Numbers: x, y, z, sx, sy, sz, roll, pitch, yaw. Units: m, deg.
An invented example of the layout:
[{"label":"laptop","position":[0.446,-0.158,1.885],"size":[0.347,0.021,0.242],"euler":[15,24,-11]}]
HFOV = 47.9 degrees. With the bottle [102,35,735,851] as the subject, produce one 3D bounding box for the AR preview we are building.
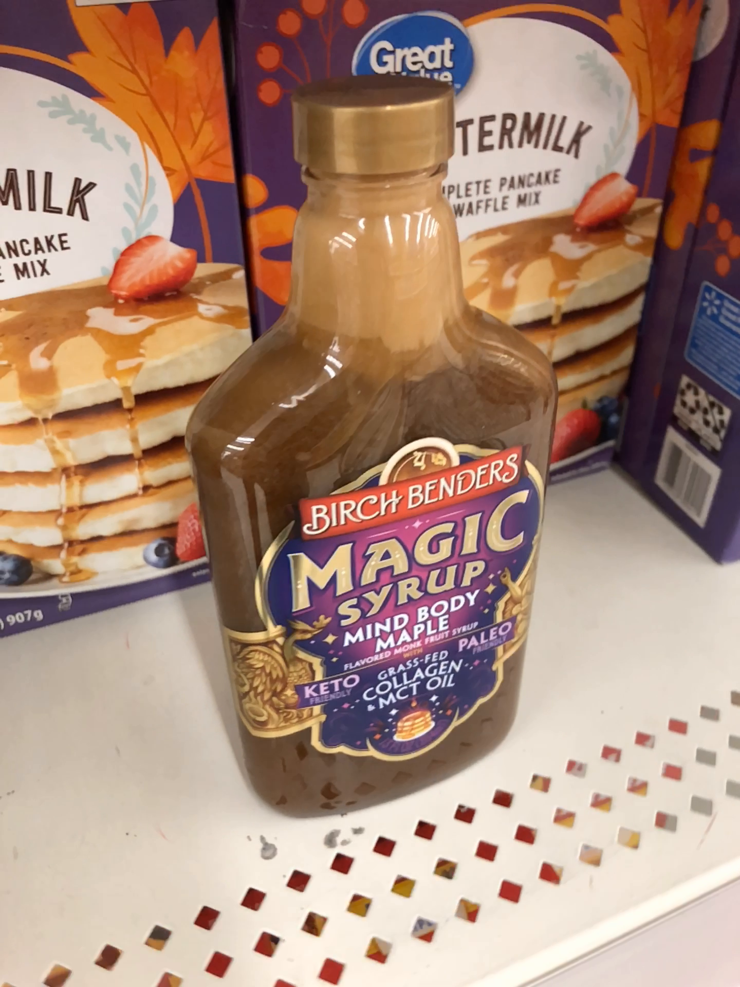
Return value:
[{"label":"bottle","position":[0.008,-0.002,0.200],"size":[0.100,0.180,0.050],"euler":[-13,38,-15]}]
